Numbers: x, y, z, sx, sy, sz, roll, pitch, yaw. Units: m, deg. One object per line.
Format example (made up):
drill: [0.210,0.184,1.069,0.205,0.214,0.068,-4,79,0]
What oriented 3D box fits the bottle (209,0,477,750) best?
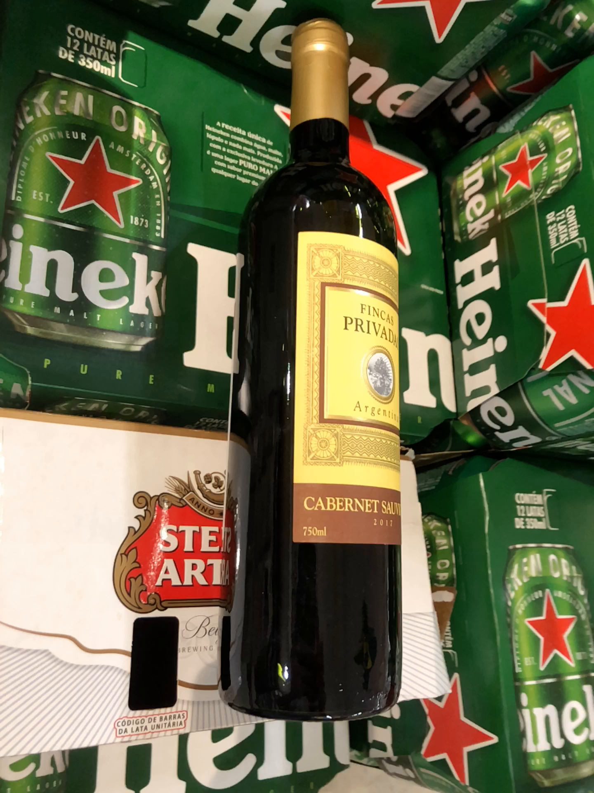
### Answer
bottle: [0.016,-0.037,0.294,0.080,0.060,0.330,10,71,-30]
